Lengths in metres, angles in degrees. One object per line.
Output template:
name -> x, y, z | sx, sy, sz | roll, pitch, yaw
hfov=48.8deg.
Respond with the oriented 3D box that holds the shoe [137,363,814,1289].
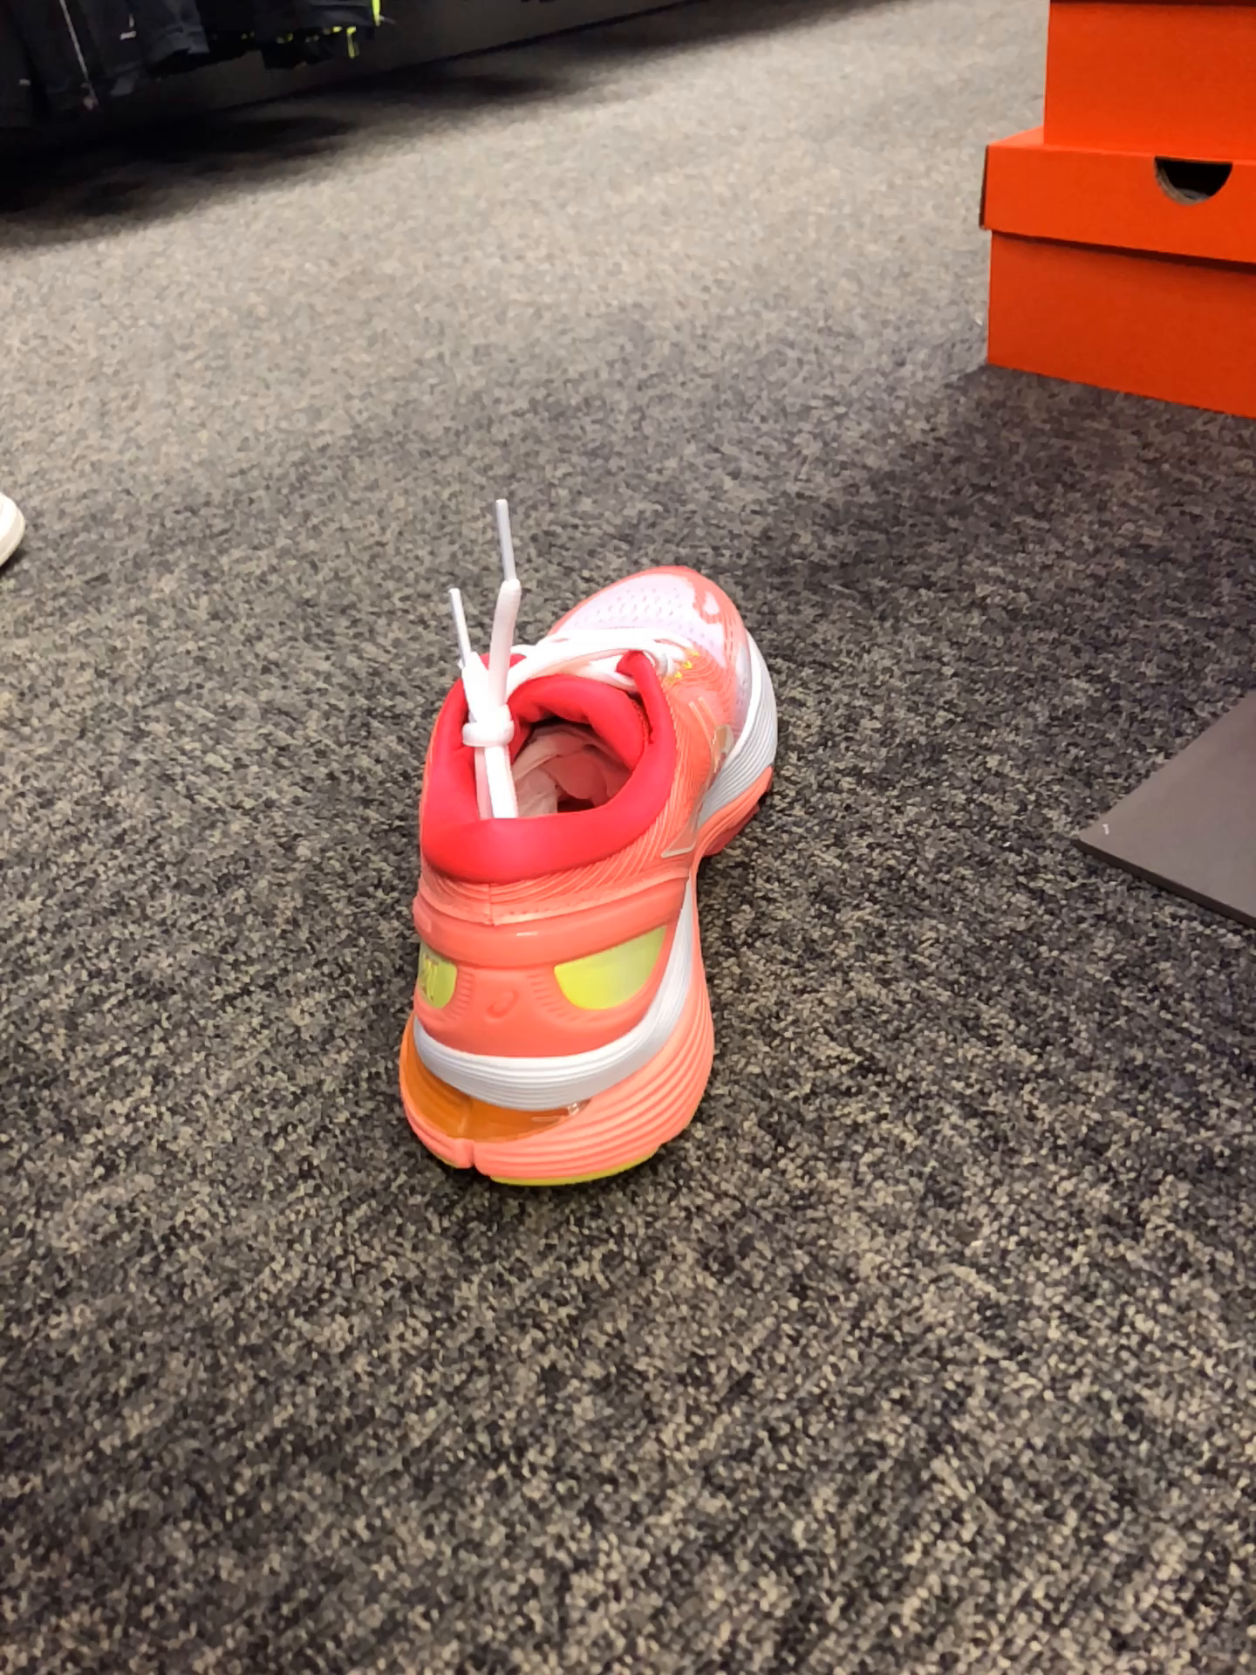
shoe -> -0.013, -0.028, 0.406 | 0.107, 0.129, 0.270 | 2, 37, 12
